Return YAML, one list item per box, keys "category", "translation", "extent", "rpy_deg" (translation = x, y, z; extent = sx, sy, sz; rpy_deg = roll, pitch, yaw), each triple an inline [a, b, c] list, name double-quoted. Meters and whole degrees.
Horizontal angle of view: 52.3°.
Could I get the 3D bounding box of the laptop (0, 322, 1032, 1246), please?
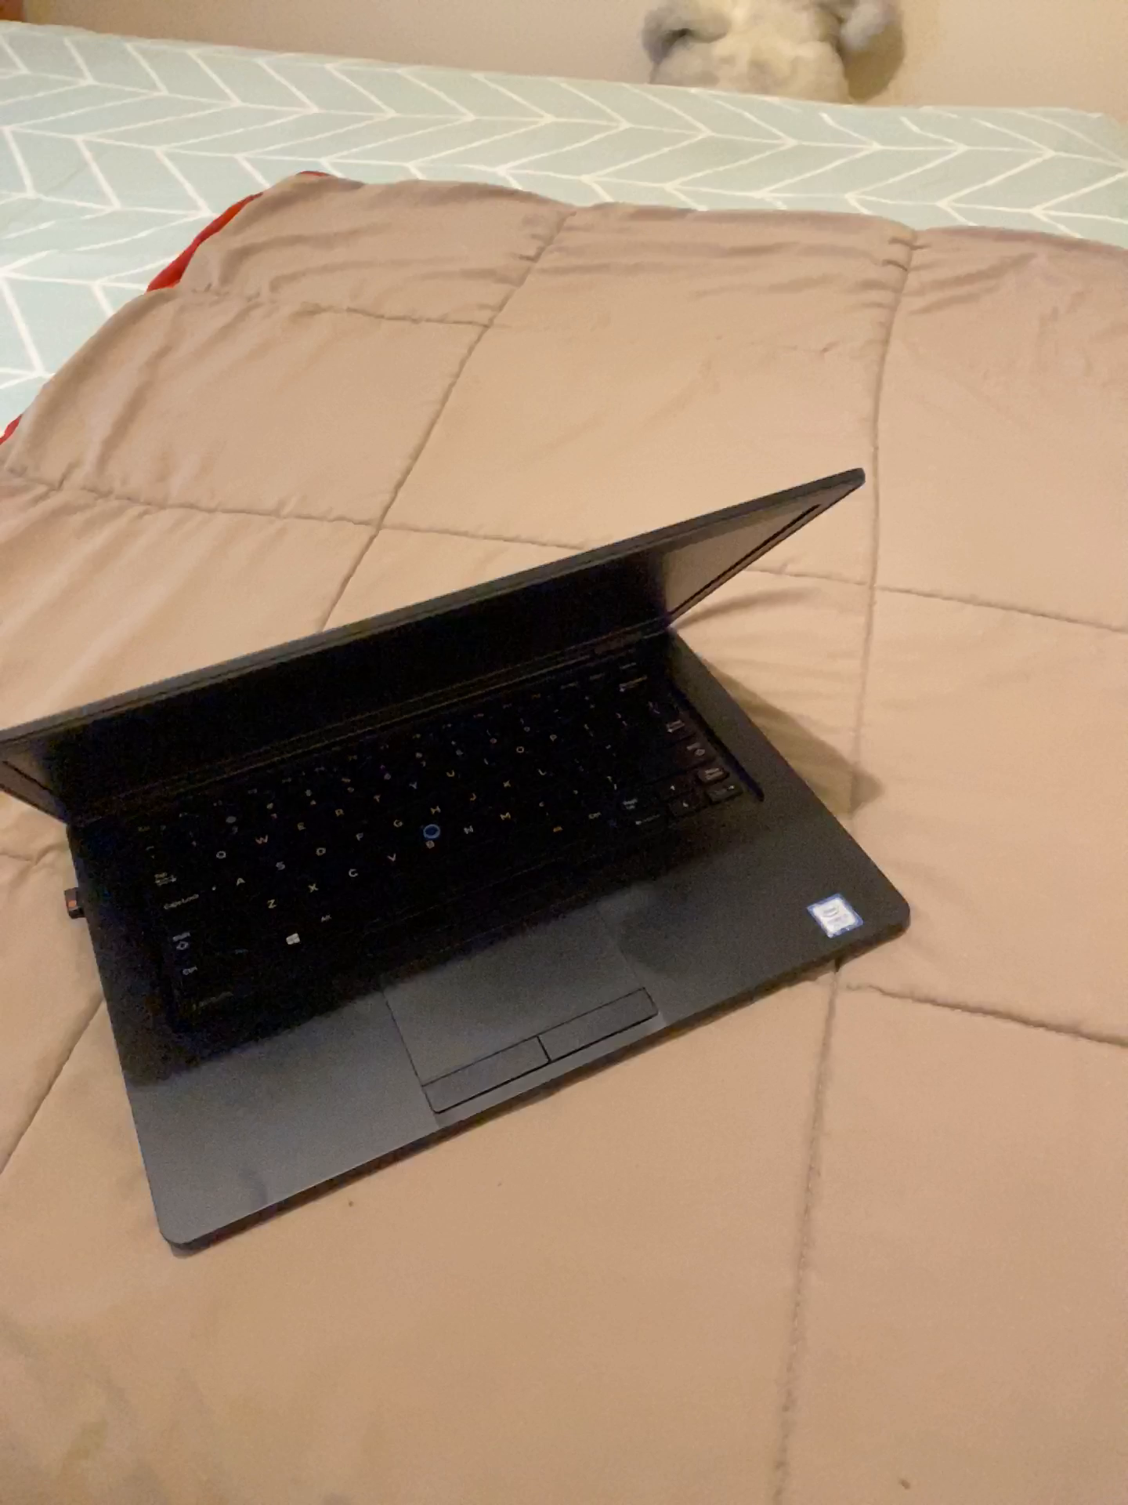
- category: "laptop"
  translation: [-0.043, -0.008, 0.477]
  extent: [0.334, 0.183, 0.227]
  rpy_deg: [-20, 49, -17]
